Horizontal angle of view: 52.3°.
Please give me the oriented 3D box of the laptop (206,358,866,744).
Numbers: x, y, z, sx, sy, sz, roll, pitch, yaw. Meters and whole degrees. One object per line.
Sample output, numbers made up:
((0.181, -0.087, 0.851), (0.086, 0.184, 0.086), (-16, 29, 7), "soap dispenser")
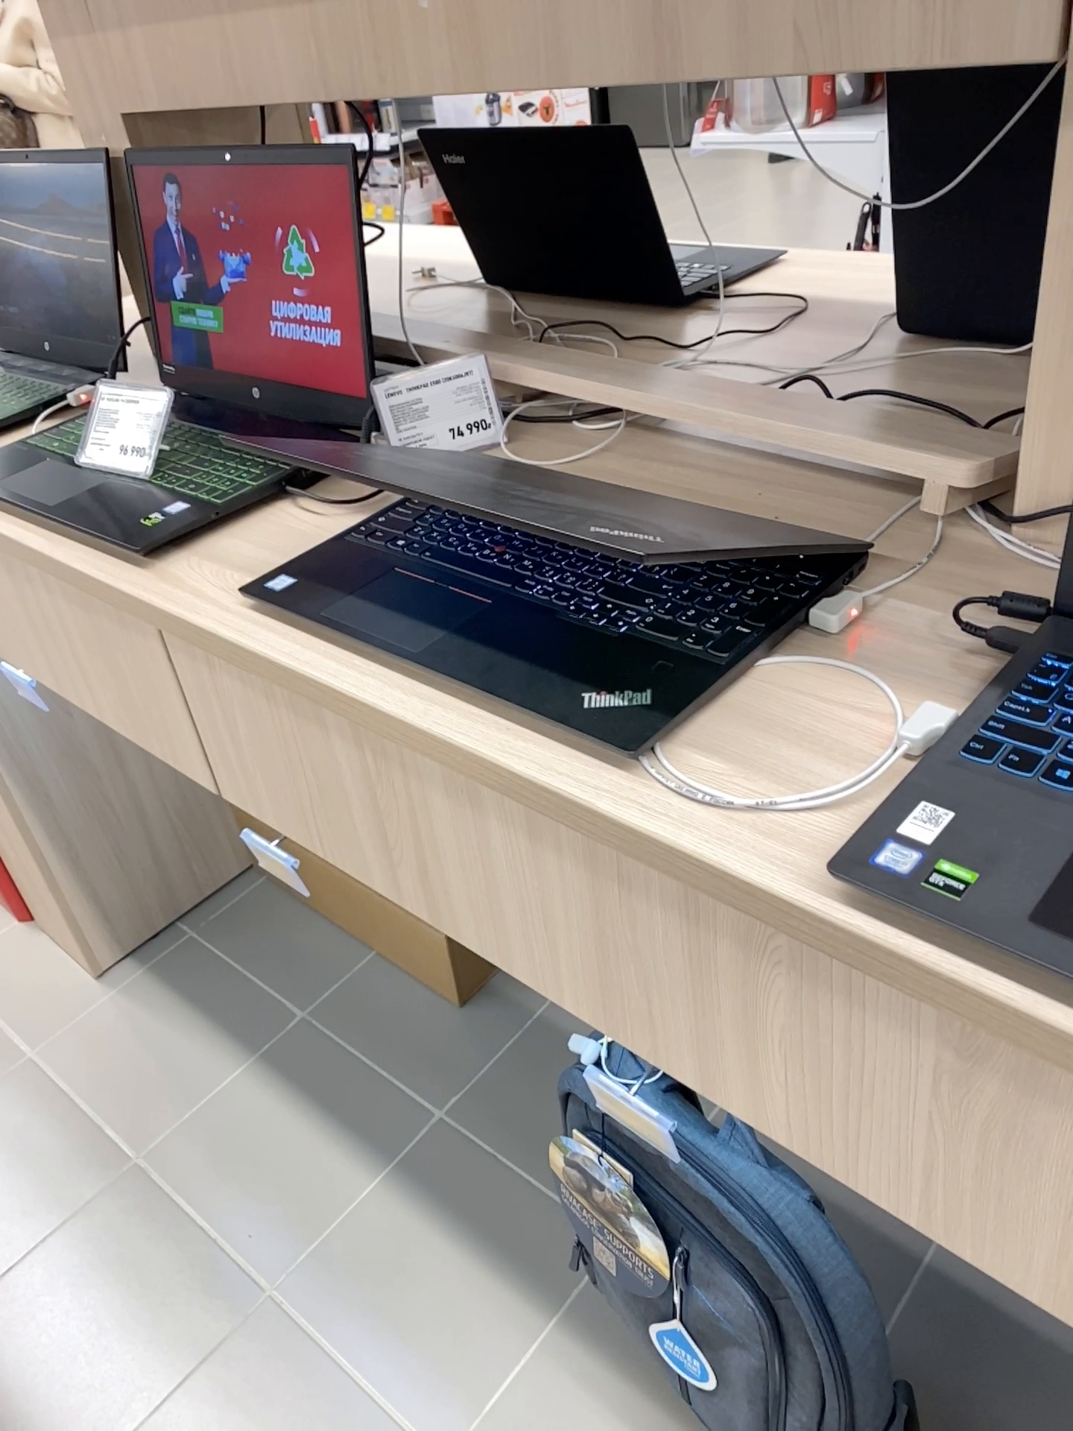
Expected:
((-0.010, -0.138, 0.728), (0.370, 0.093, 0.240), (22, 45, 39), "laptop")
